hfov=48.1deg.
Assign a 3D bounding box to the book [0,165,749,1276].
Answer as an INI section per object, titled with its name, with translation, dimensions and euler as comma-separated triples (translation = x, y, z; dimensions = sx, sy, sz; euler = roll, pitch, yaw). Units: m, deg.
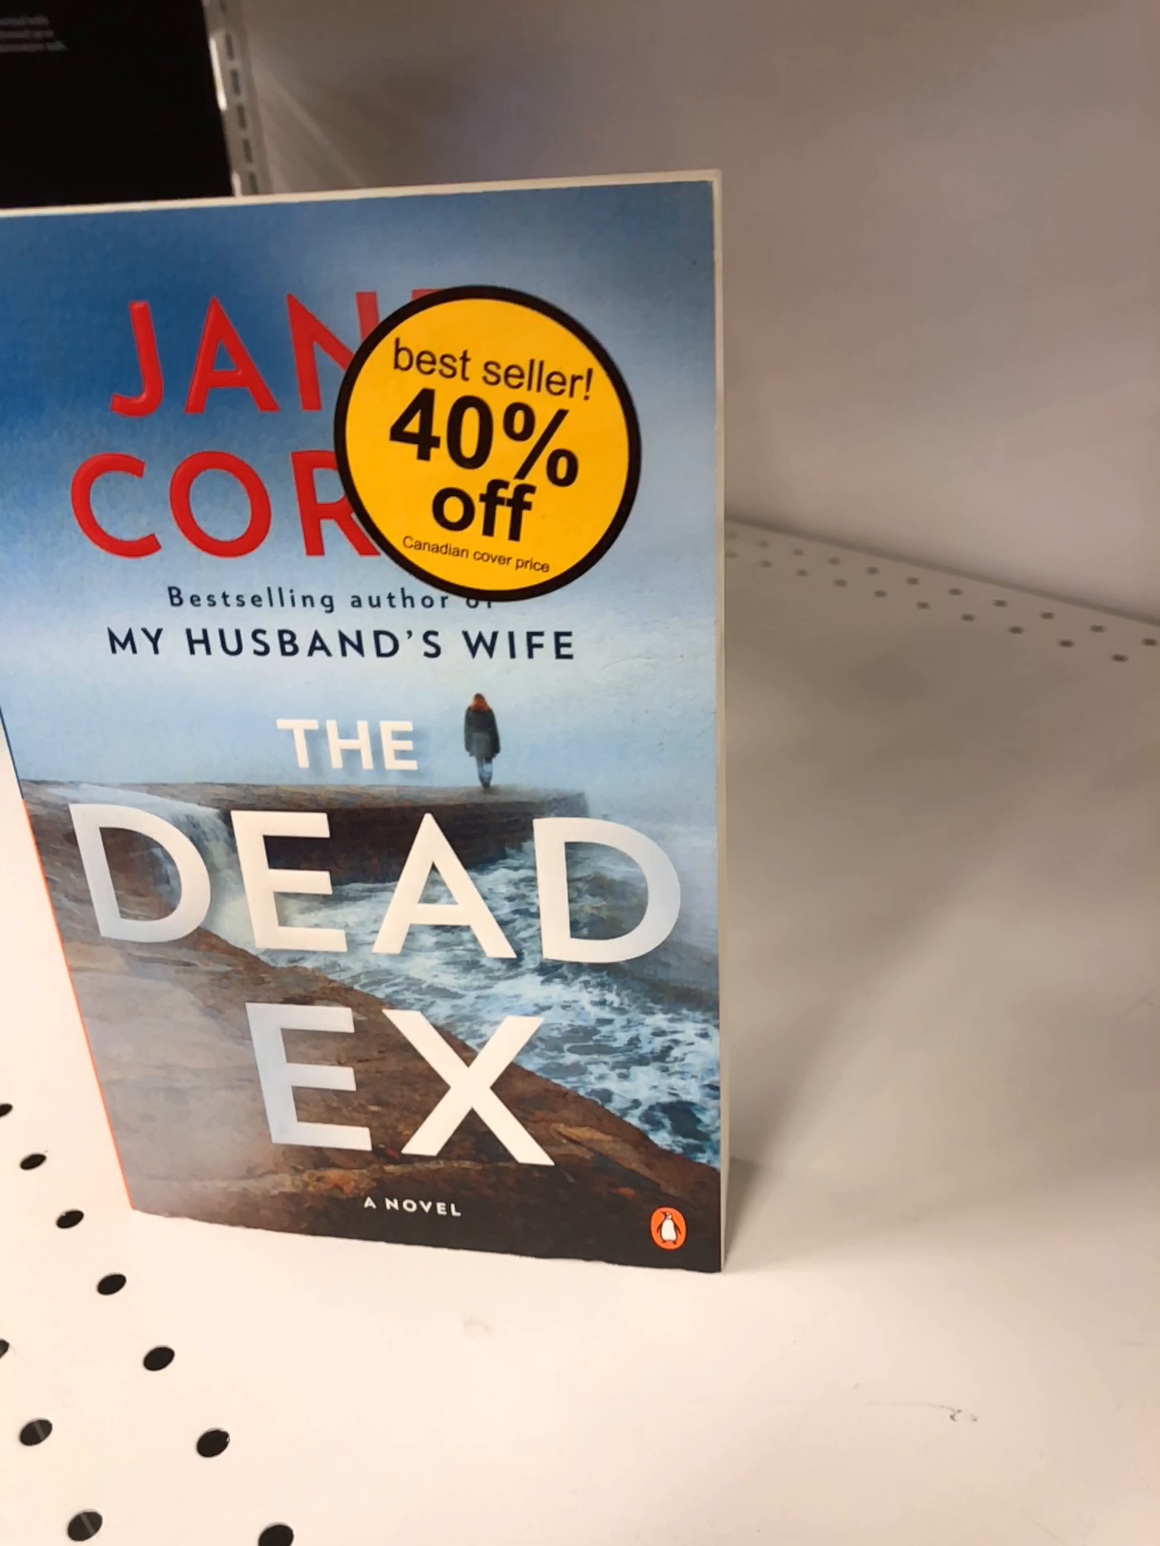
[book]
translation = -0.043, 0.000, 0.260
dimensions = 0.146, 0.211, 0.040
euler = 1, 26, 12
